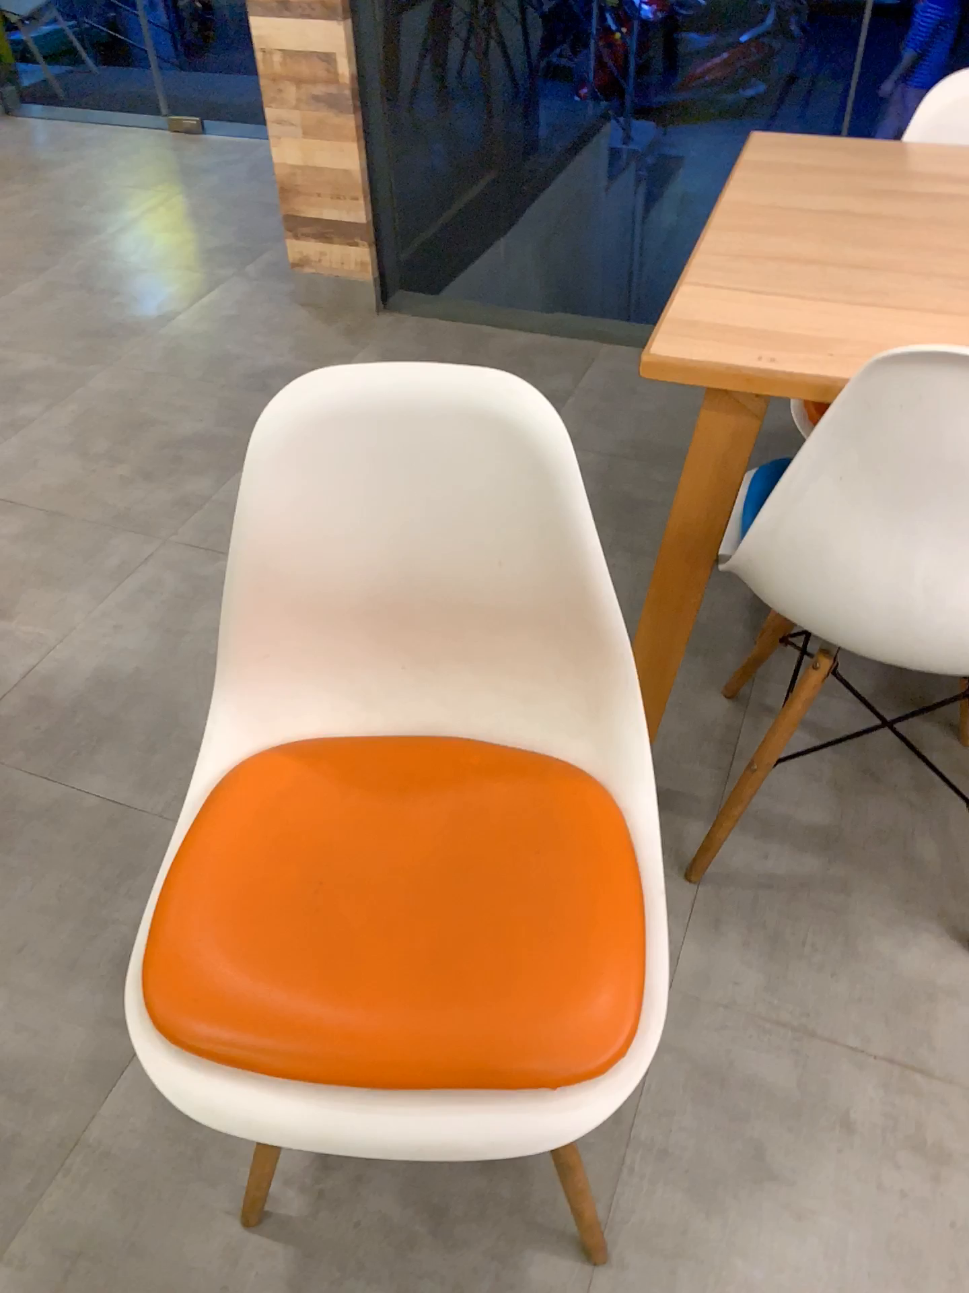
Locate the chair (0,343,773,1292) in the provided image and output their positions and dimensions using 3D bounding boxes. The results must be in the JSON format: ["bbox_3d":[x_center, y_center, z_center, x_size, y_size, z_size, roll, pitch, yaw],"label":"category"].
[{"bbox_3d":[-0.057,0.176,0.888,0.470,0.704,0.484,4,42,7],"label":"chair"}]
